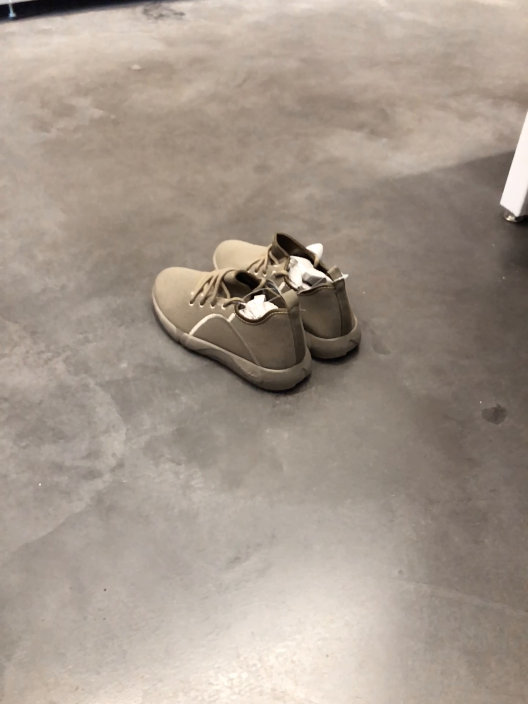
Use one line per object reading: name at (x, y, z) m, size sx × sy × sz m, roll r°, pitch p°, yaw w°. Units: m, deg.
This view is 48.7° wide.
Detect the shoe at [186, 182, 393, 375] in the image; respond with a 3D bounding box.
shoe at (0.023, -0.095, 0.698) m, size 0.090 × 0.109 × 0.240 m, roll -34°, pitch 53°, yaw -29°

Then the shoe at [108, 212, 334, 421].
shoe at (-0.051, -0.048, 0.659) m, size 0.240 × 0.109 × 0.101 m, roll 32°, pitch 53°, yaw 29°
